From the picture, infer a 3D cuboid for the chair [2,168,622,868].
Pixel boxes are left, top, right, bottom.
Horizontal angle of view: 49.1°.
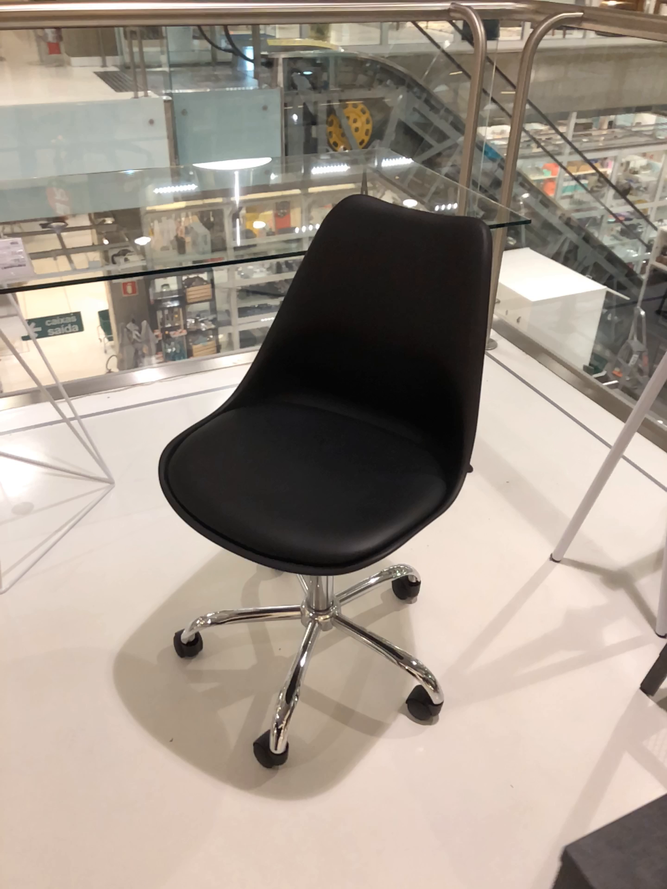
[{"bbox_3d":[-0.001,0.060,1.256,0.631,0.823,0.634,20,38,26],"label":"chair"}]
